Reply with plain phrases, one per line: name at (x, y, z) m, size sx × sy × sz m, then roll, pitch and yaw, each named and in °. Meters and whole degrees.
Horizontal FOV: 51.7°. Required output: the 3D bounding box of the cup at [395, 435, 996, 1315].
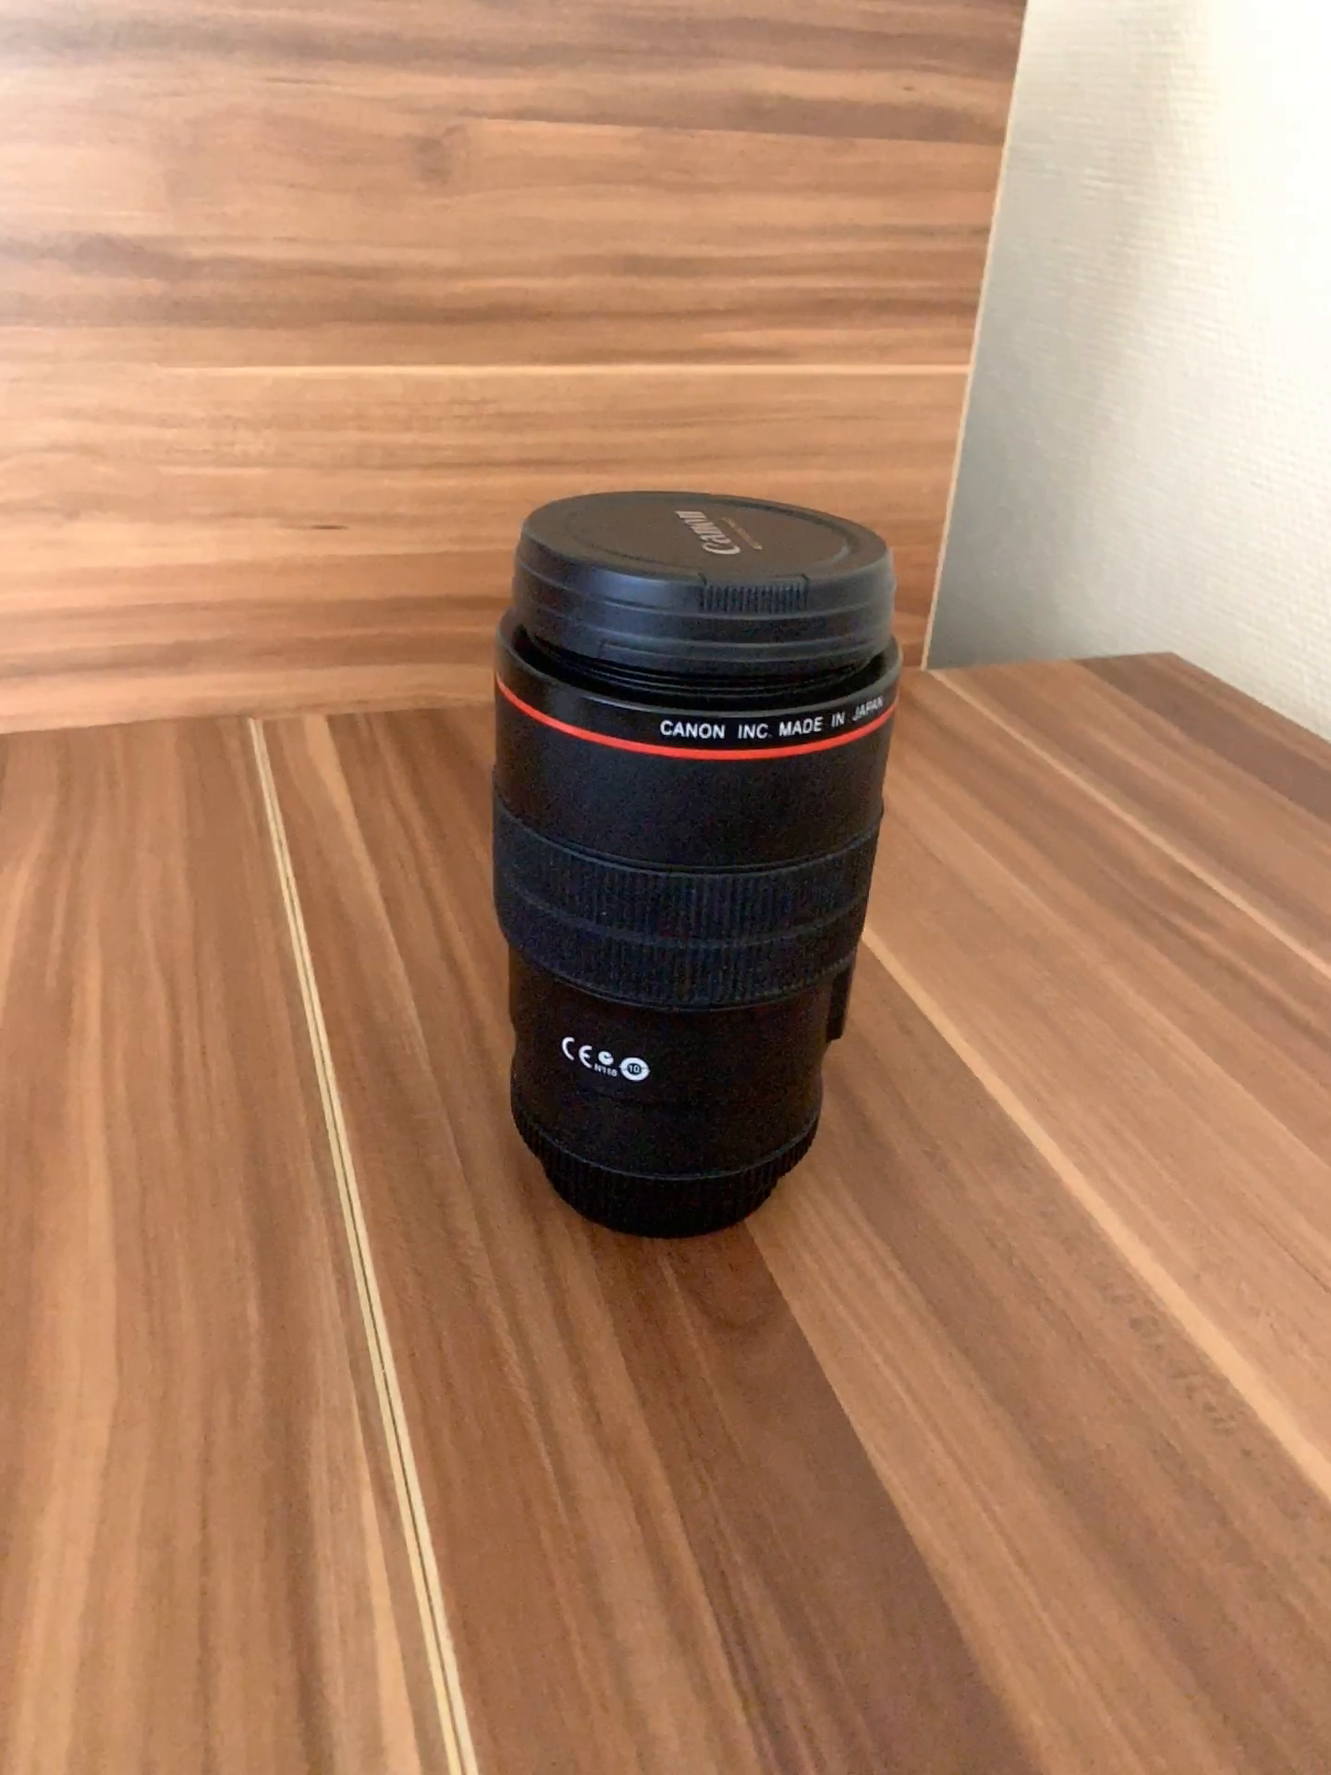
cup at (-0.001, -0.006, 0.271) m, size 0.070 × 0.139 × 0.080 m, roll -16°, pitch 35°, yaw -31°
